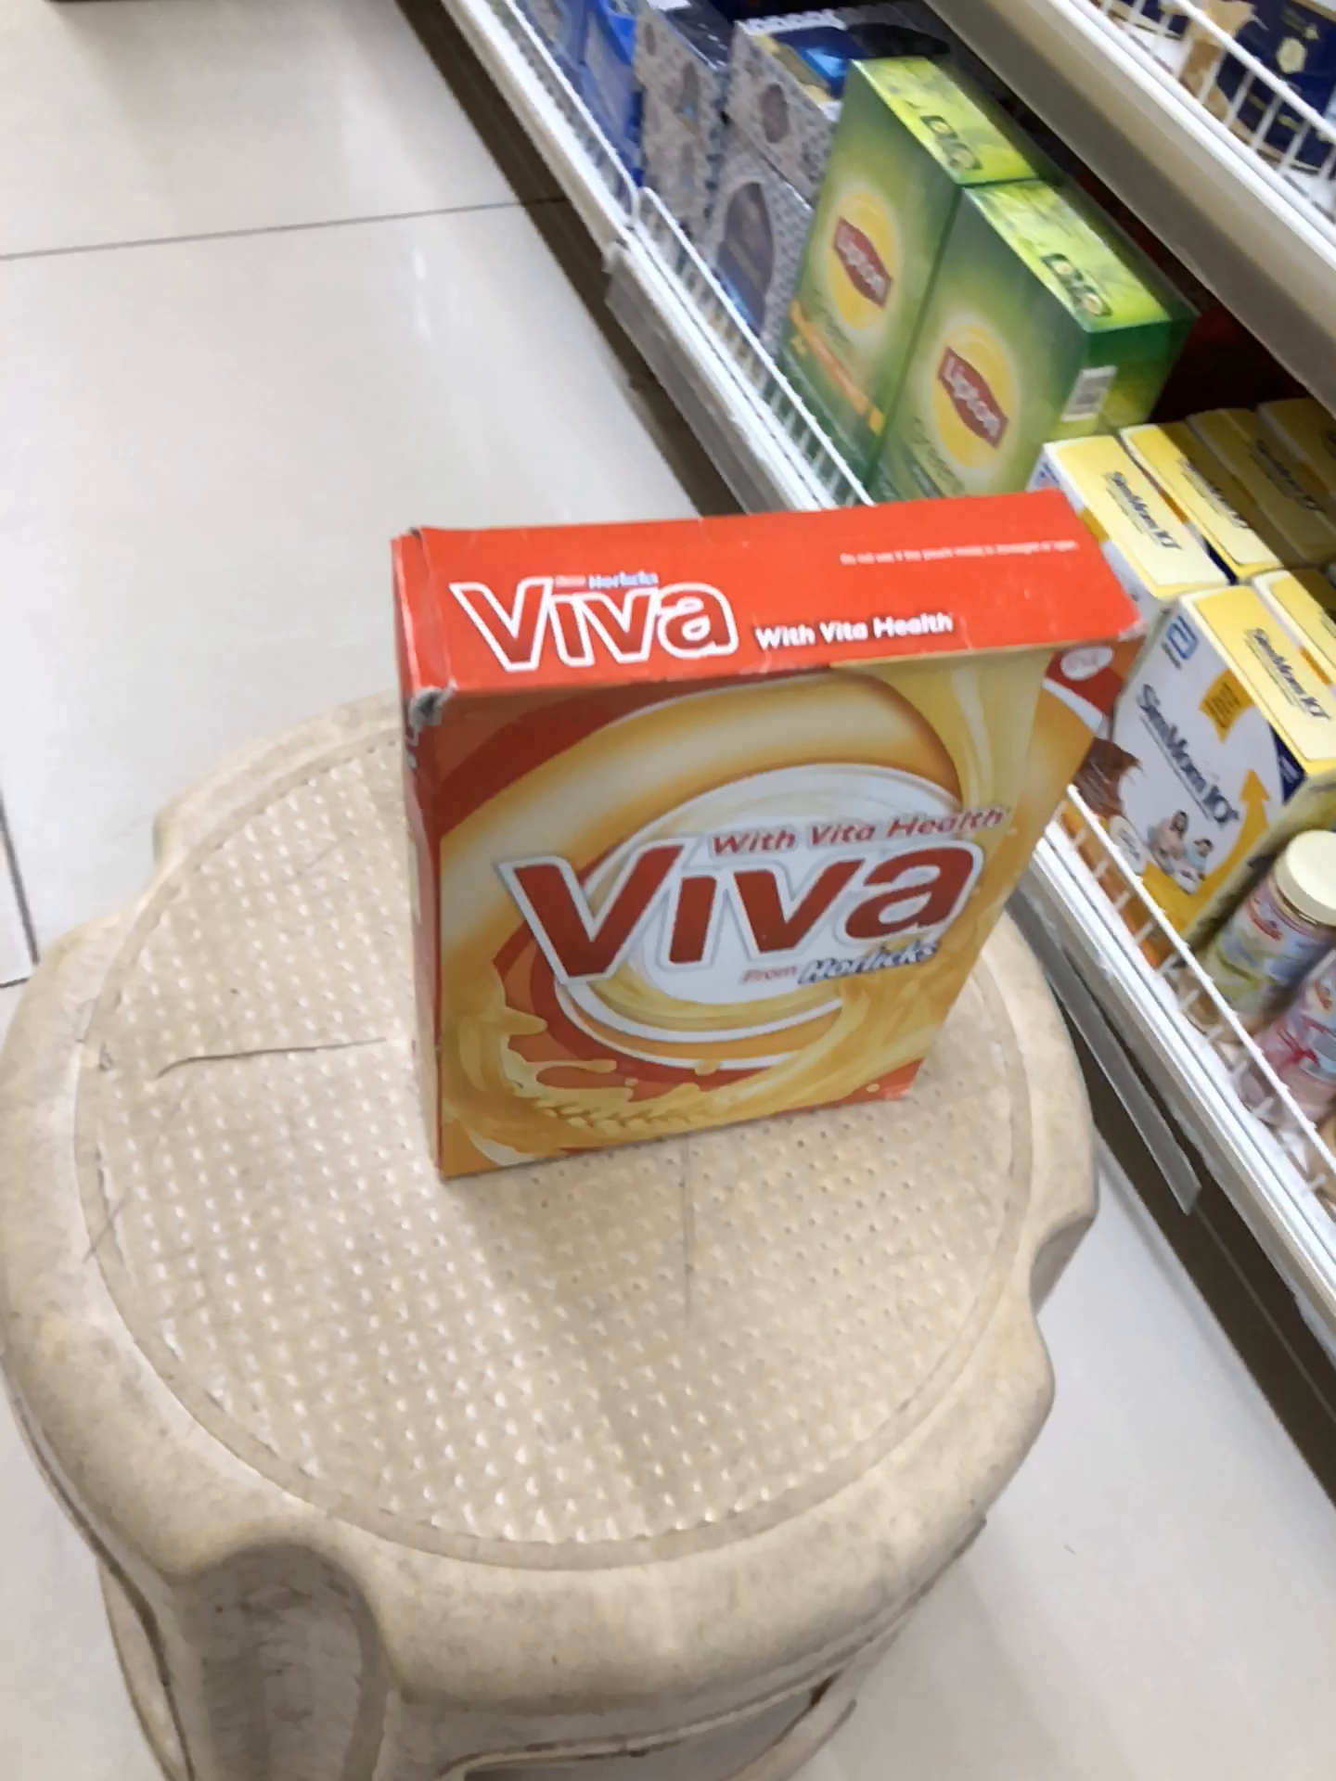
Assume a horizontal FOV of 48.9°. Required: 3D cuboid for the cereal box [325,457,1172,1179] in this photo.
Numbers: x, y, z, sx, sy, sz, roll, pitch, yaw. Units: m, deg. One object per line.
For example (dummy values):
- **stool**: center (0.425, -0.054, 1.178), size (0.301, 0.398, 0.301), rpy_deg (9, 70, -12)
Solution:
- **cereal box**: center (0.005, -0.007, 0.367), size (0.160, 0.199, 0.050), rpy_deg (-8, 57, -15)
